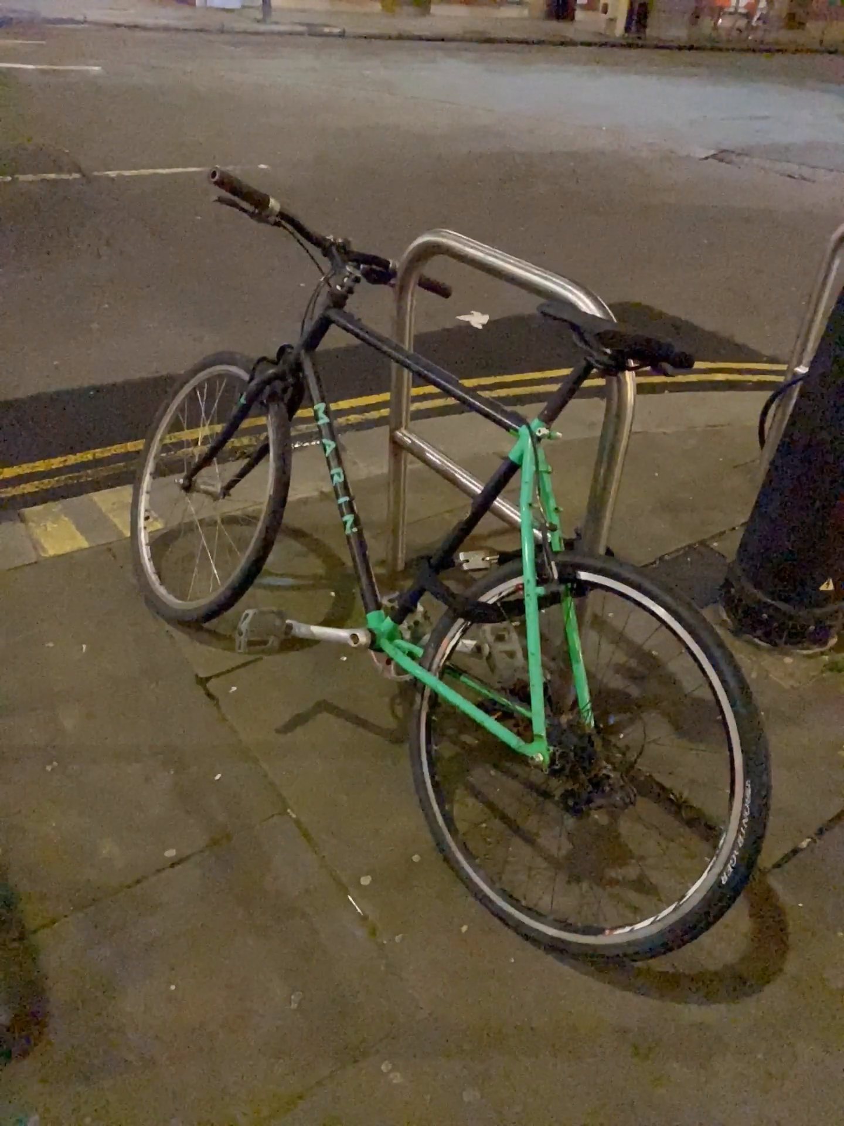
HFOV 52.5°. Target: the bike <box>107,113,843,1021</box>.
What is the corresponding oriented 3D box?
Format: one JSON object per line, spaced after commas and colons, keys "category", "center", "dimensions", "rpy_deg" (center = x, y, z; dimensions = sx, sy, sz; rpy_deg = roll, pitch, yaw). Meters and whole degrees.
{"category": "bike", "center": [0.103, -0.204, 1.759], "dimensions": [0.640, 1.014, 1.691], "rpy_deg": [-25, 44, -34]}
